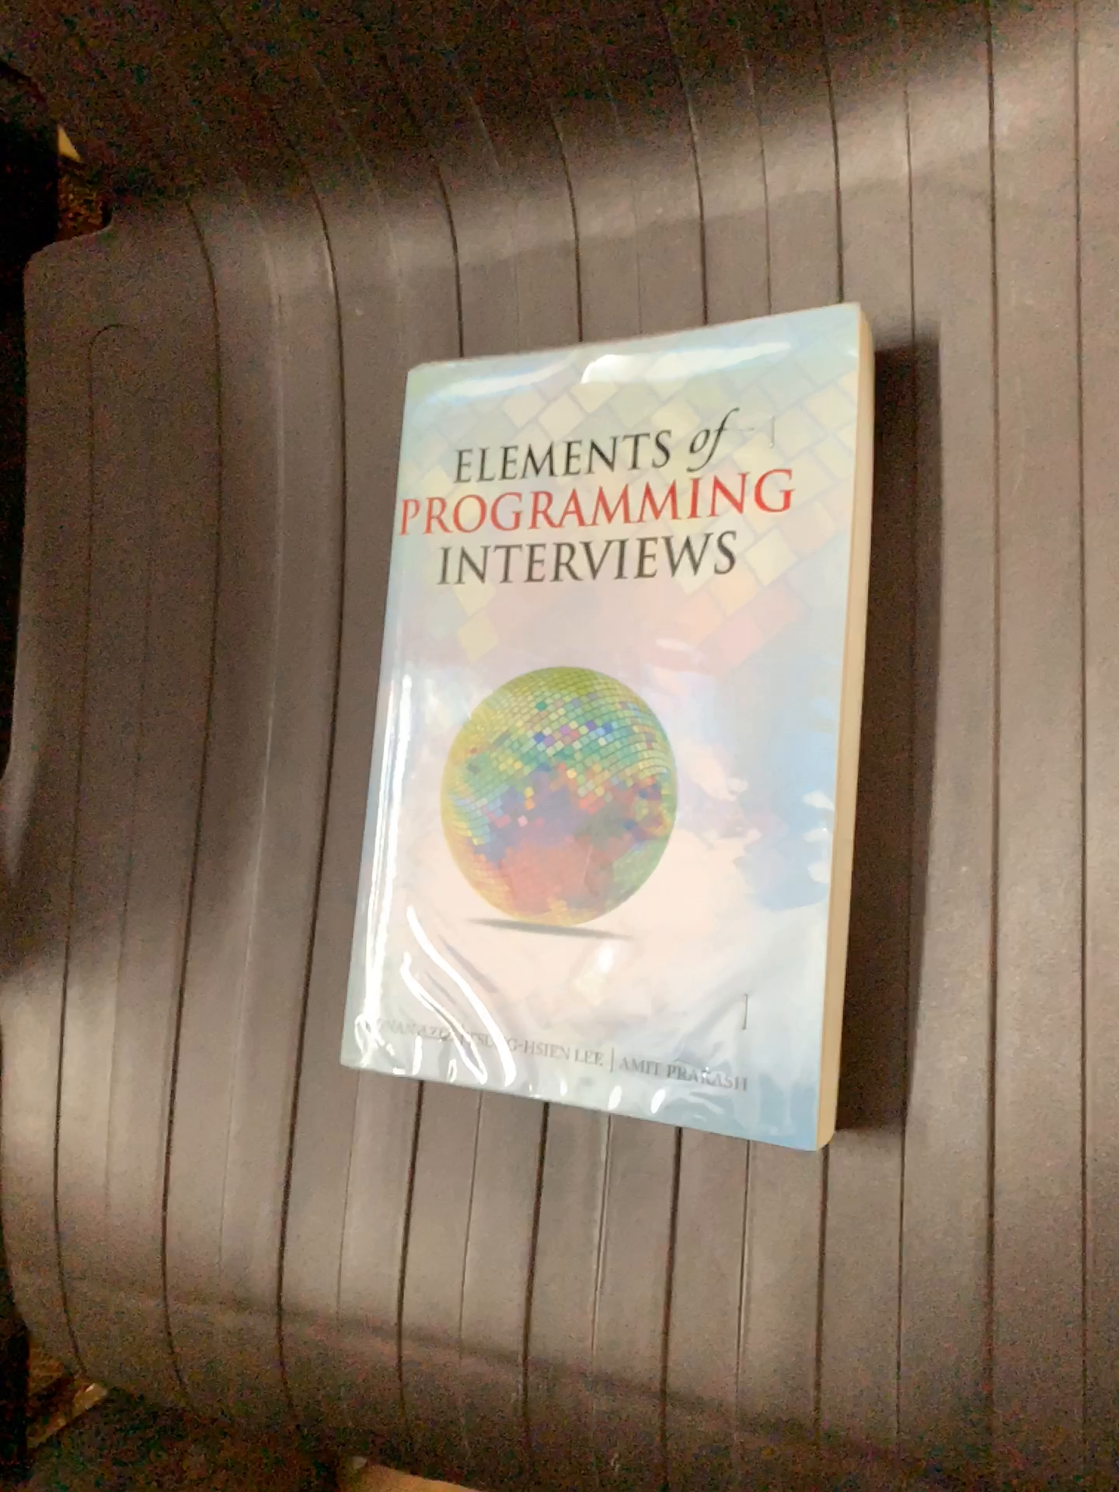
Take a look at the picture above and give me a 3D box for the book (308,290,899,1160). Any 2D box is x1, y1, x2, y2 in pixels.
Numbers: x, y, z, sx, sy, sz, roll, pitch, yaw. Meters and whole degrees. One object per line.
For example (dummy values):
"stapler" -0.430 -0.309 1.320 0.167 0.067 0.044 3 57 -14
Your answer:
"book" 0.013 -0.009 0.361 0.160 0.050 0.230 2 84 26
